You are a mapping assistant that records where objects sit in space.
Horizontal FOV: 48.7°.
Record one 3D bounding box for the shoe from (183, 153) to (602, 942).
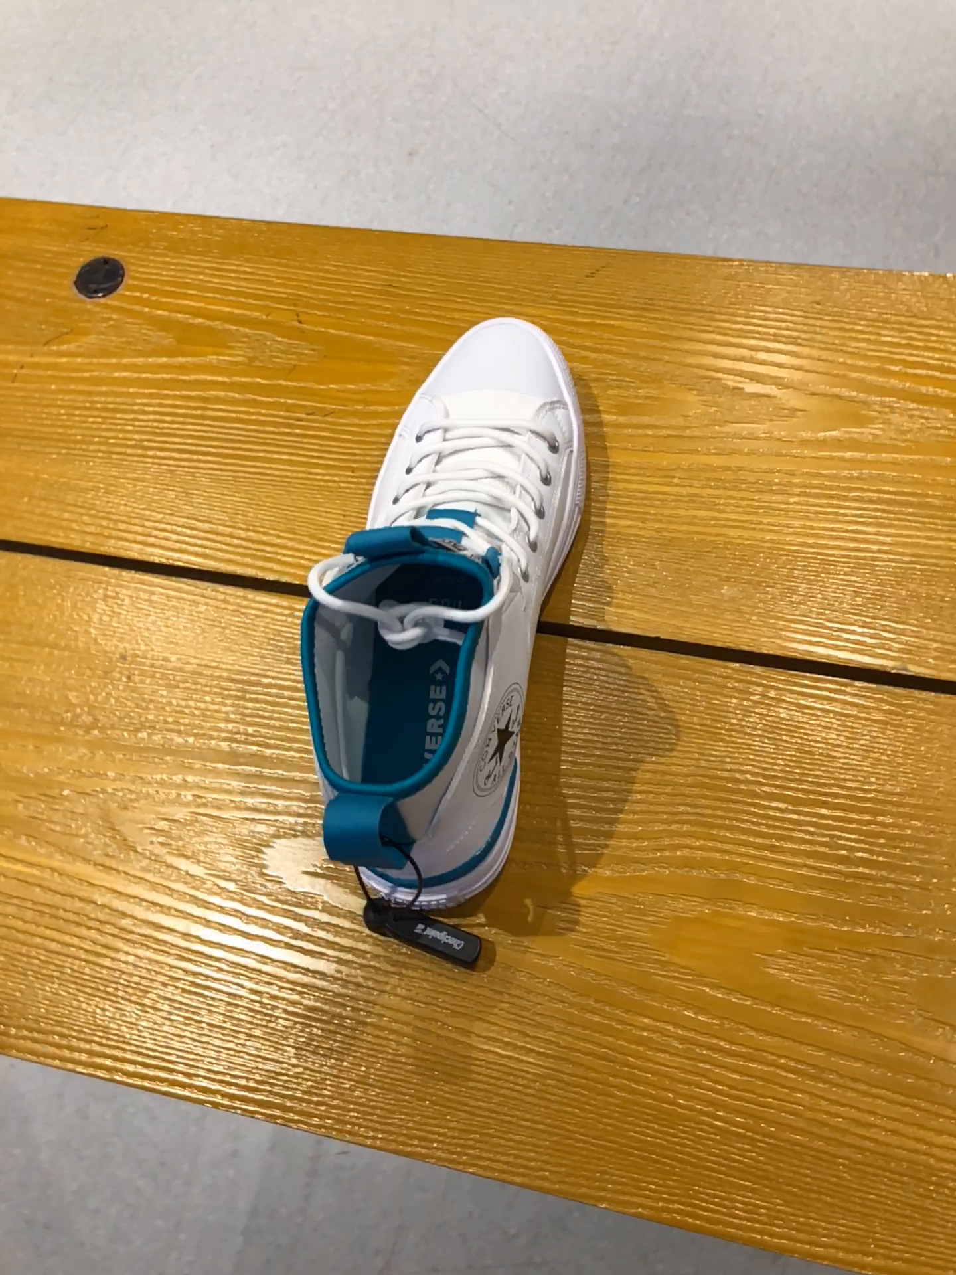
[{"bbox_3d":[-0.013,-0.035,0.456,0.108,0.158,0.294,4,68,9],"label":"shoe"}]
